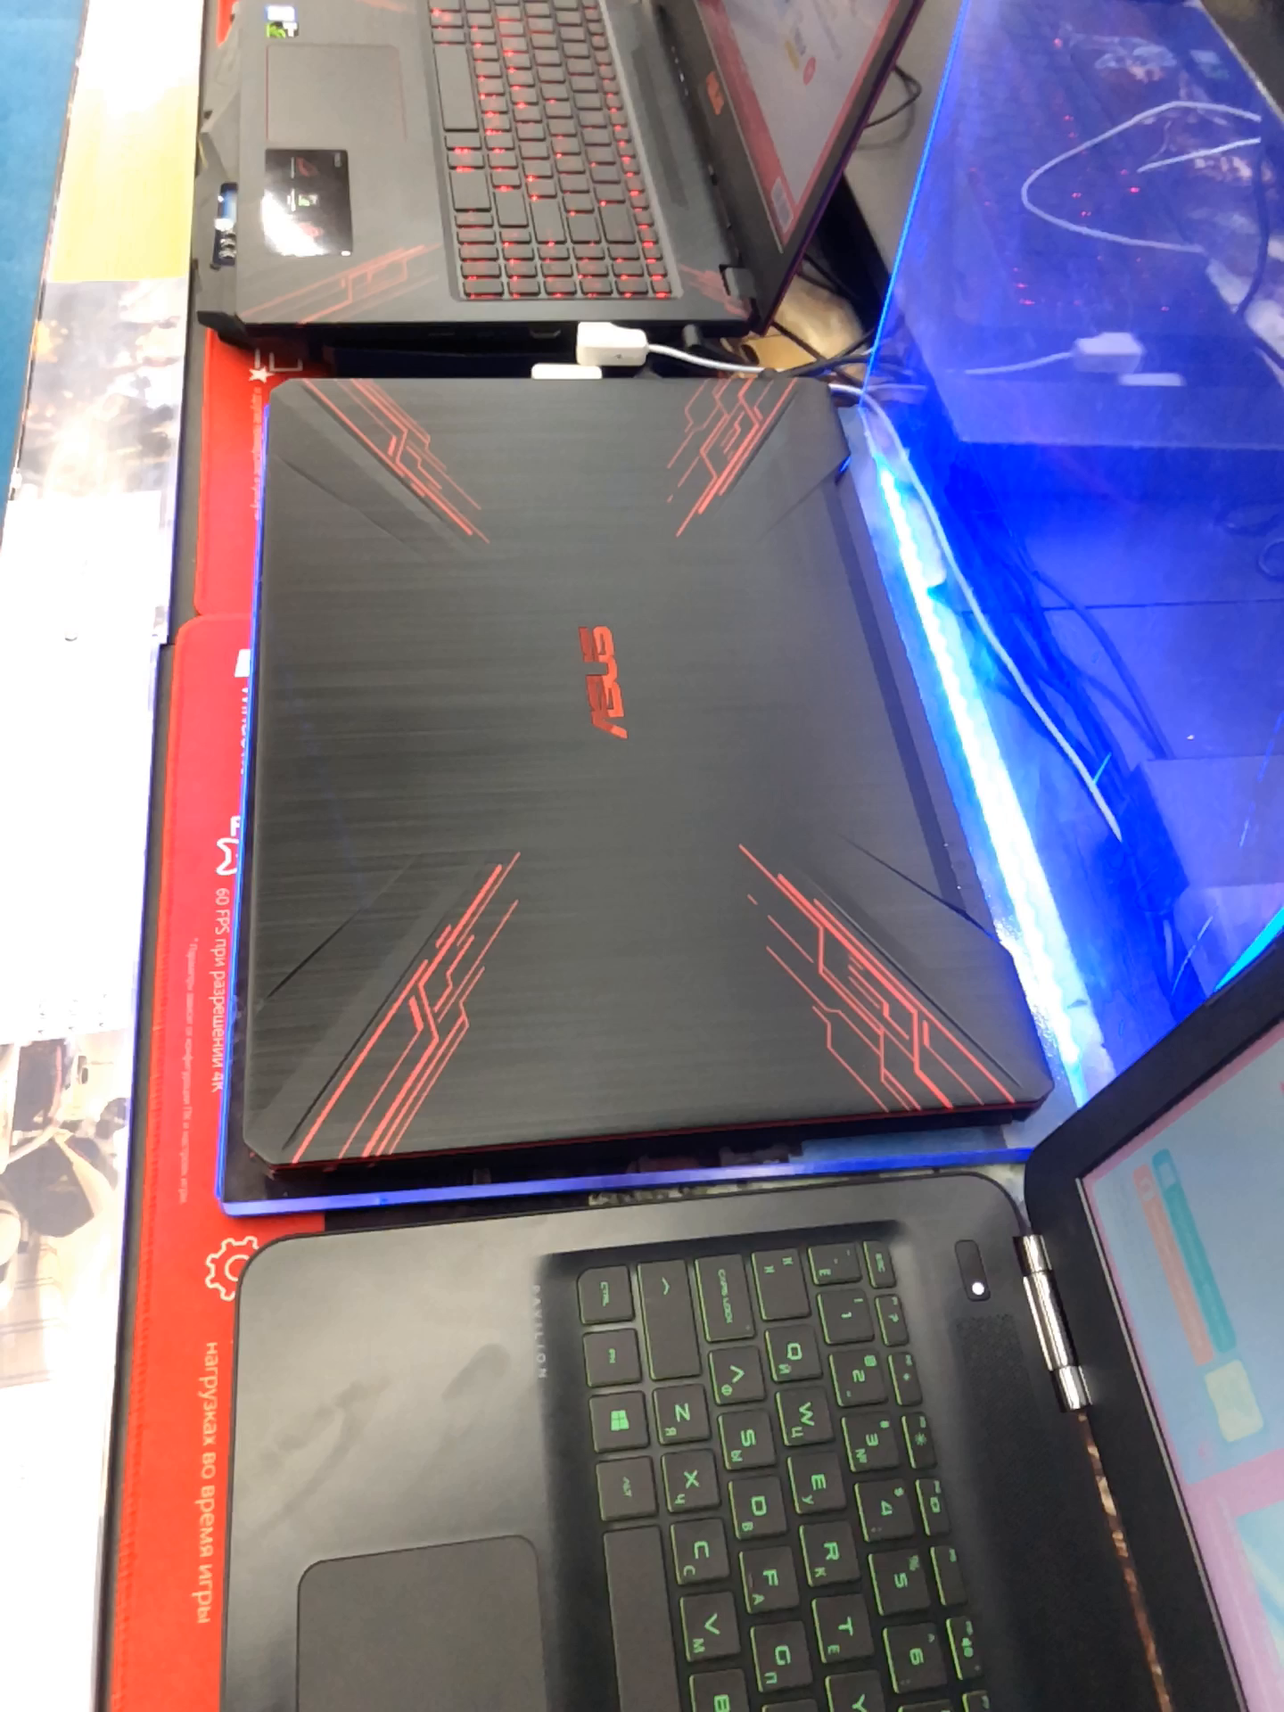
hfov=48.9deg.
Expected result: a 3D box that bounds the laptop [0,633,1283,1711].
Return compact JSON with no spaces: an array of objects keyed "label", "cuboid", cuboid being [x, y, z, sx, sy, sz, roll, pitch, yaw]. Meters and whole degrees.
[{"label":"laptop","cuboid":[0.053,0.192,0.245,0.291,0.242,0.375,-3,55,-7]}]

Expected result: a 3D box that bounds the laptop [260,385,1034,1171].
[{"label":"laptop","cuboid":[-0.016,-0.064,0.549,0.243,0.006,0.374,-3,54,-7]}]

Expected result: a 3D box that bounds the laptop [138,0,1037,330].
[{"label":"laptop","cuboid":[-0.047,-0.483,0.699,0.318,0.231,0.391,-4,55,-9]}]
